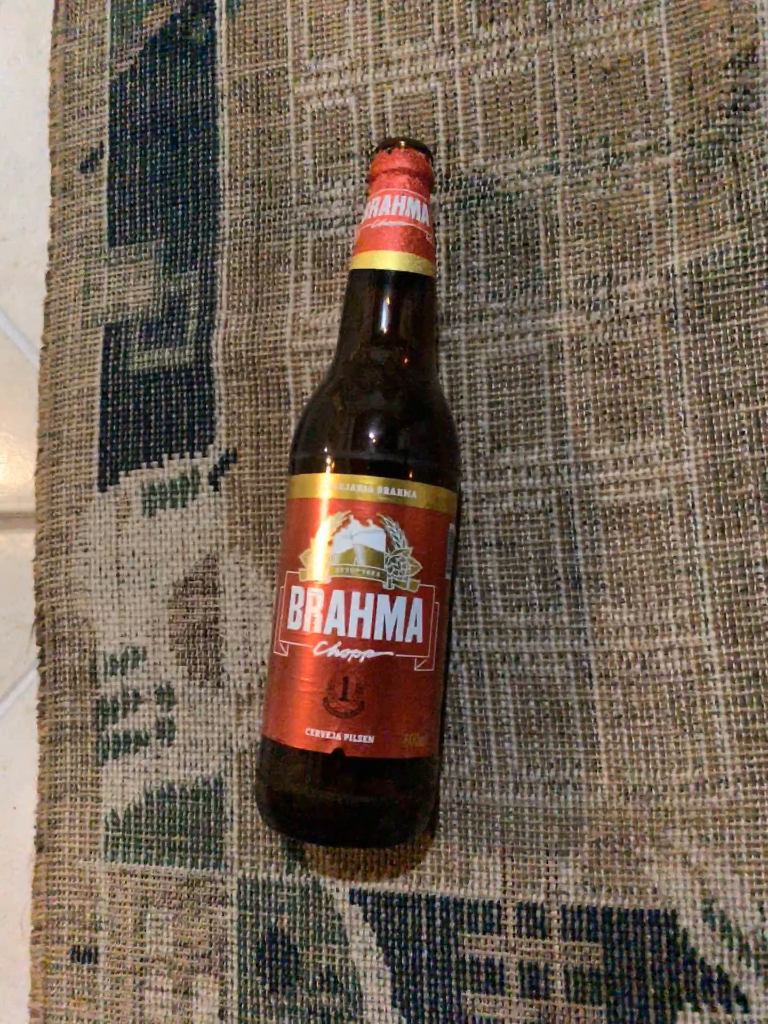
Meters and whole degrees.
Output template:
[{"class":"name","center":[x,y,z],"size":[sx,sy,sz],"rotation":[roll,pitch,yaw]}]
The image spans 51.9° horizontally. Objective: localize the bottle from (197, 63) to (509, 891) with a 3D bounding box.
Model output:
[{"class":"bottle","center":[-0.004,-0.019,0.299],"size":[0.080,0.060,0.280],"rotation":[4,83,11]}]
